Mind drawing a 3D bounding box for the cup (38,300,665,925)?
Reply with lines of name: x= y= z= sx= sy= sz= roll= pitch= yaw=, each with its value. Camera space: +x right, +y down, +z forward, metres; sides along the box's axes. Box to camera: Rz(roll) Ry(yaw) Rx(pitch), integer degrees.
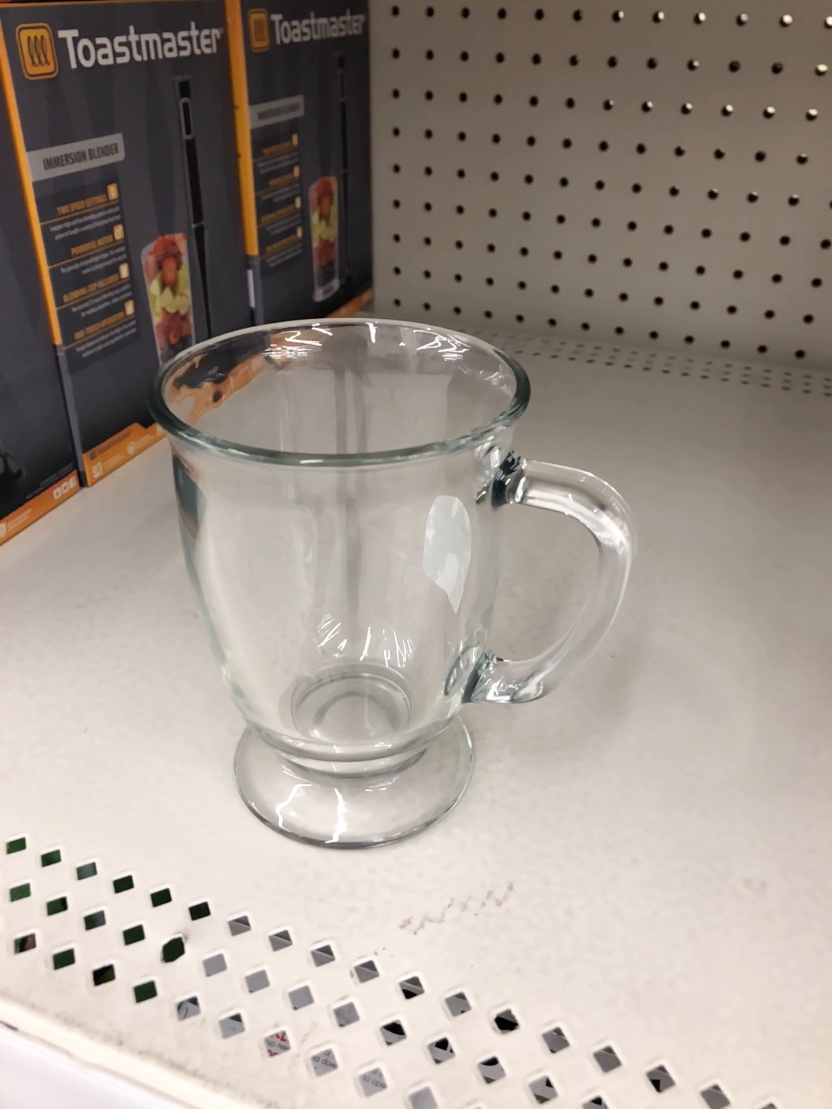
cup: x=-0.010 y=0.007 z=0.285 sx=0.138 sy=0.128 sz=0.110 roll=11 pitch=33 yaw=18
